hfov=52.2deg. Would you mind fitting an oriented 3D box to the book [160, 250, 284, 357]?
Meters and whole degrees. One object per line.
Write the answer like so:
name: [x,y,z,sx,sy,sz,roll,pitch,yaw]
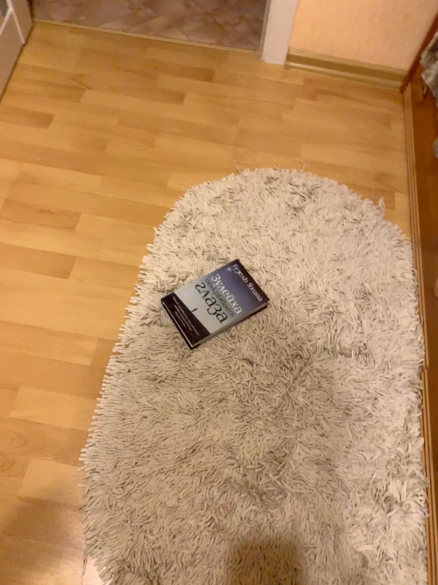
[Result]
book: [0.007,0.019,0.976,0.220,0.040,0.150,-28,67,-18]
